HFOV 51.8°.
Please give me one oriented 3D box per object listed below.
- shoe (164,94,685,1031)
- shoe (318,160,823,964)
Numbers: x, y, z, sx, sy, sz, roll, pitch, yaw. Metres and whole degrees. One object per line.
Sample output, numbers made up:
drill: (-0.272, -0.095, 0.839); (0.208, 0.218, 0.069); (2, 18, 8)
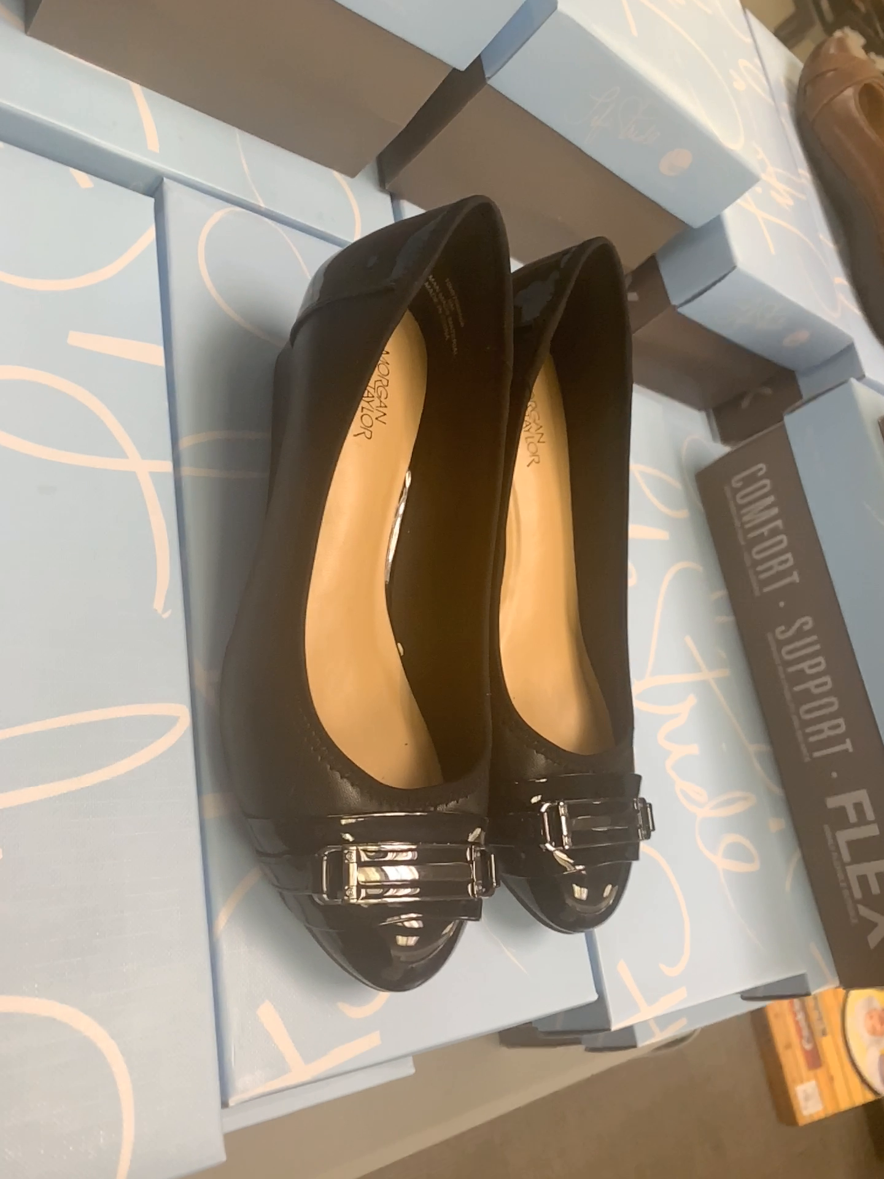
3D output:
shoe: (-0.019, -0.007, 0.282); (0.091, 0.095, 0.245); (9, 64, -40)
shoe: (0.035, -0.009, 0.333); (0.091, 0.095, 0.251); (6, 66, -41)
